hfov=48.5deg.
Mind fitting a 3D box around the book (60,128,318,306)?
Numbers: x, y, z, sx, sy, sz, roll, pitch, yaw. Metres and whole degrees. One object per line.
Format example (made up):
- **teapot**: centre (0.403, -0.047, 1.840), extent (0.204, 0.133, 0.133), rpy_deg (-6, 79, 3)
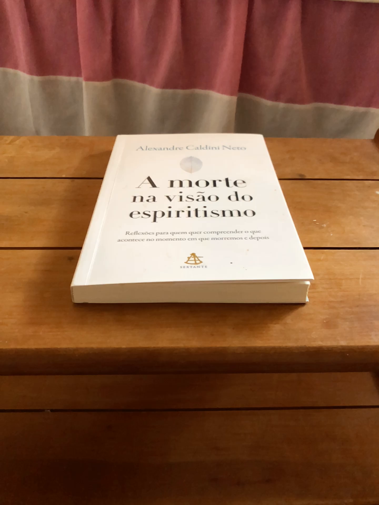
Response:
- **book**: centre (0.000, -0.040, 0.304), extent (0.135, 0.020, 0.197), rpy_deg (0, 39, 0)
